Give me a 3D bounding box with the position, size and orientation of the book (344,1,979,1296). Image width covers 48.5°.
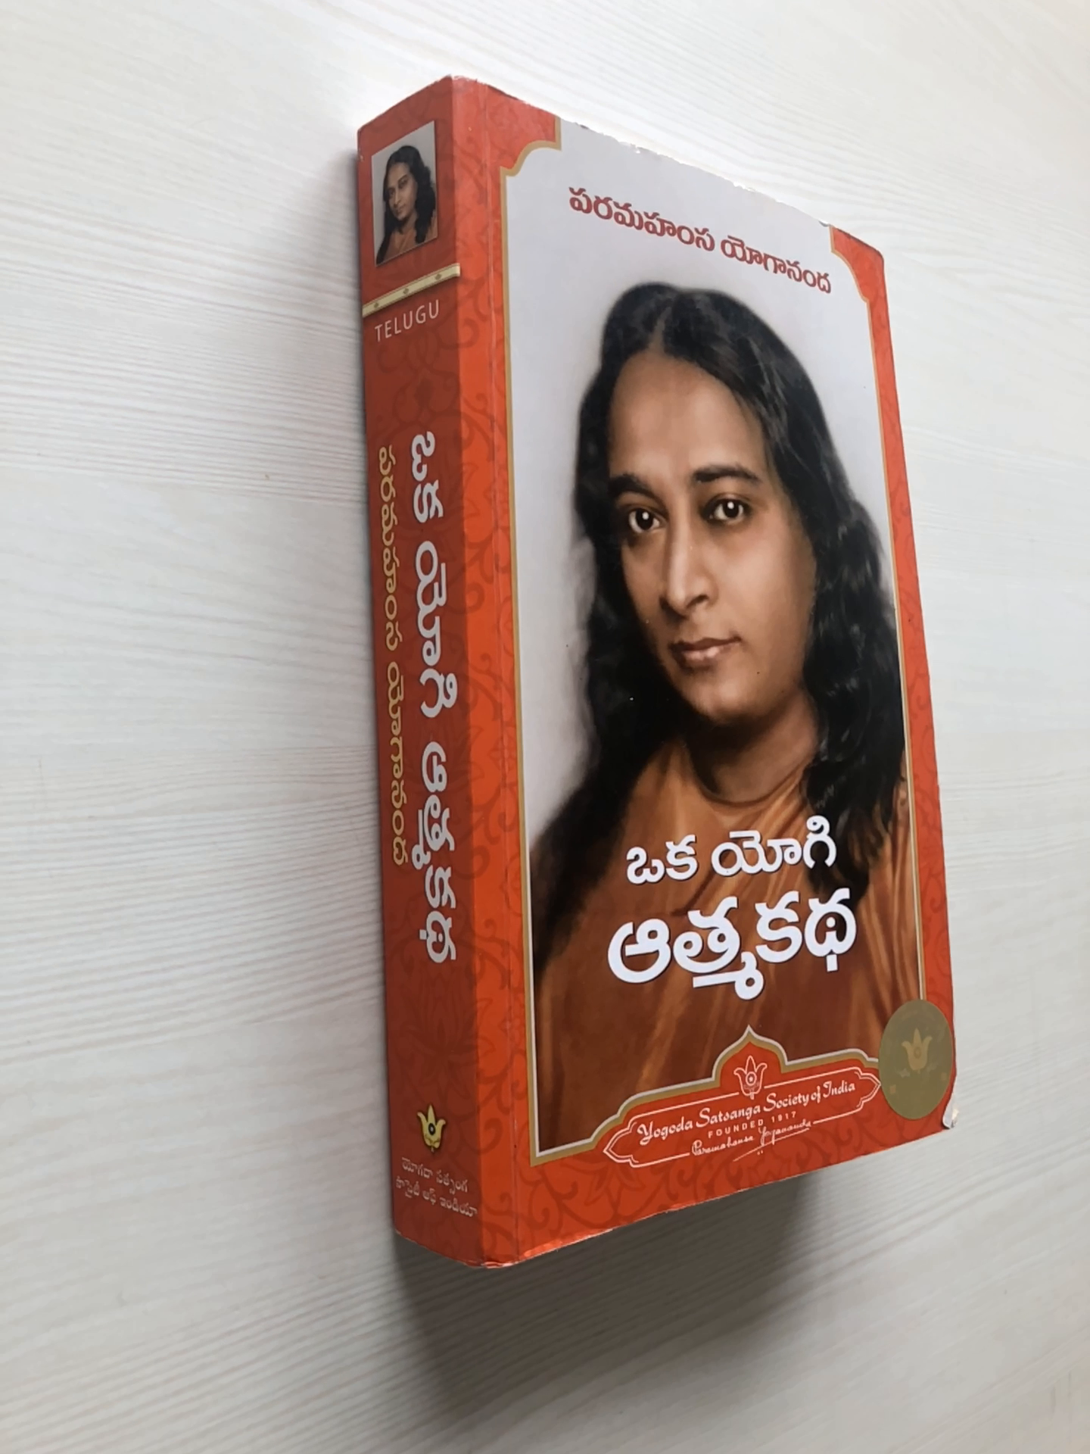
[{"bbox_3d":[0.033,-0.016,0.279,0.151,0.040,0.233,1,86,-38],"label":"book"}]
